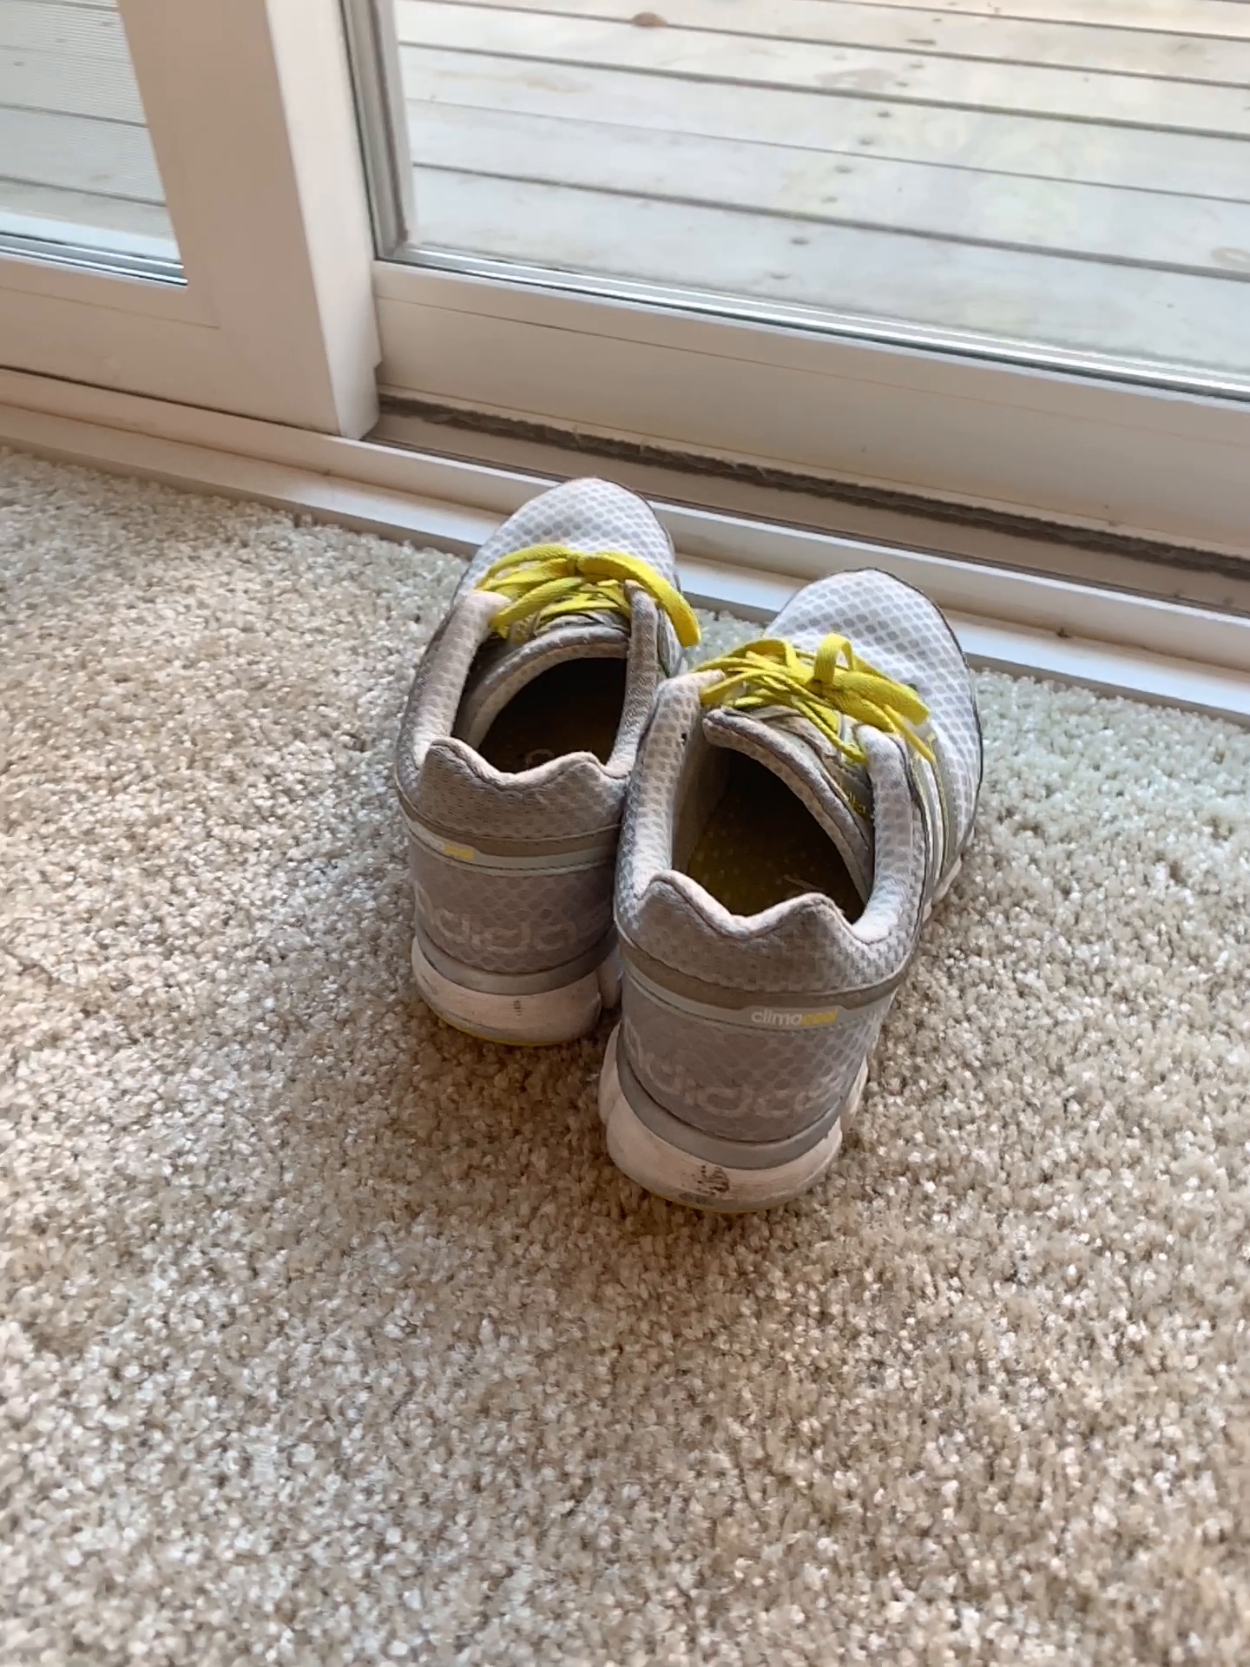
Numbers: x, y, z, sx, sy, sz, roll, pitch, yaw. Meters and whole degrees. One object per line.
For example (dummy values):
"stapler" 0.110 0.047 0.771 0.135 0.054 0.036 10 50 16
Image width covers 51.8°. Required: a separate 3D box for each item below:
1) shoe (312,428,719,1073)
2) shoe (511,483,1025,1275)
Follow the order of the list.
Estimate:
"shoe" -0.026 -0.044 0.440 0.090 0.099 0.231 9 36 1
"shoe" 0.055 -0.008 0.395 0.090 0.099 0.241 17 38 8
